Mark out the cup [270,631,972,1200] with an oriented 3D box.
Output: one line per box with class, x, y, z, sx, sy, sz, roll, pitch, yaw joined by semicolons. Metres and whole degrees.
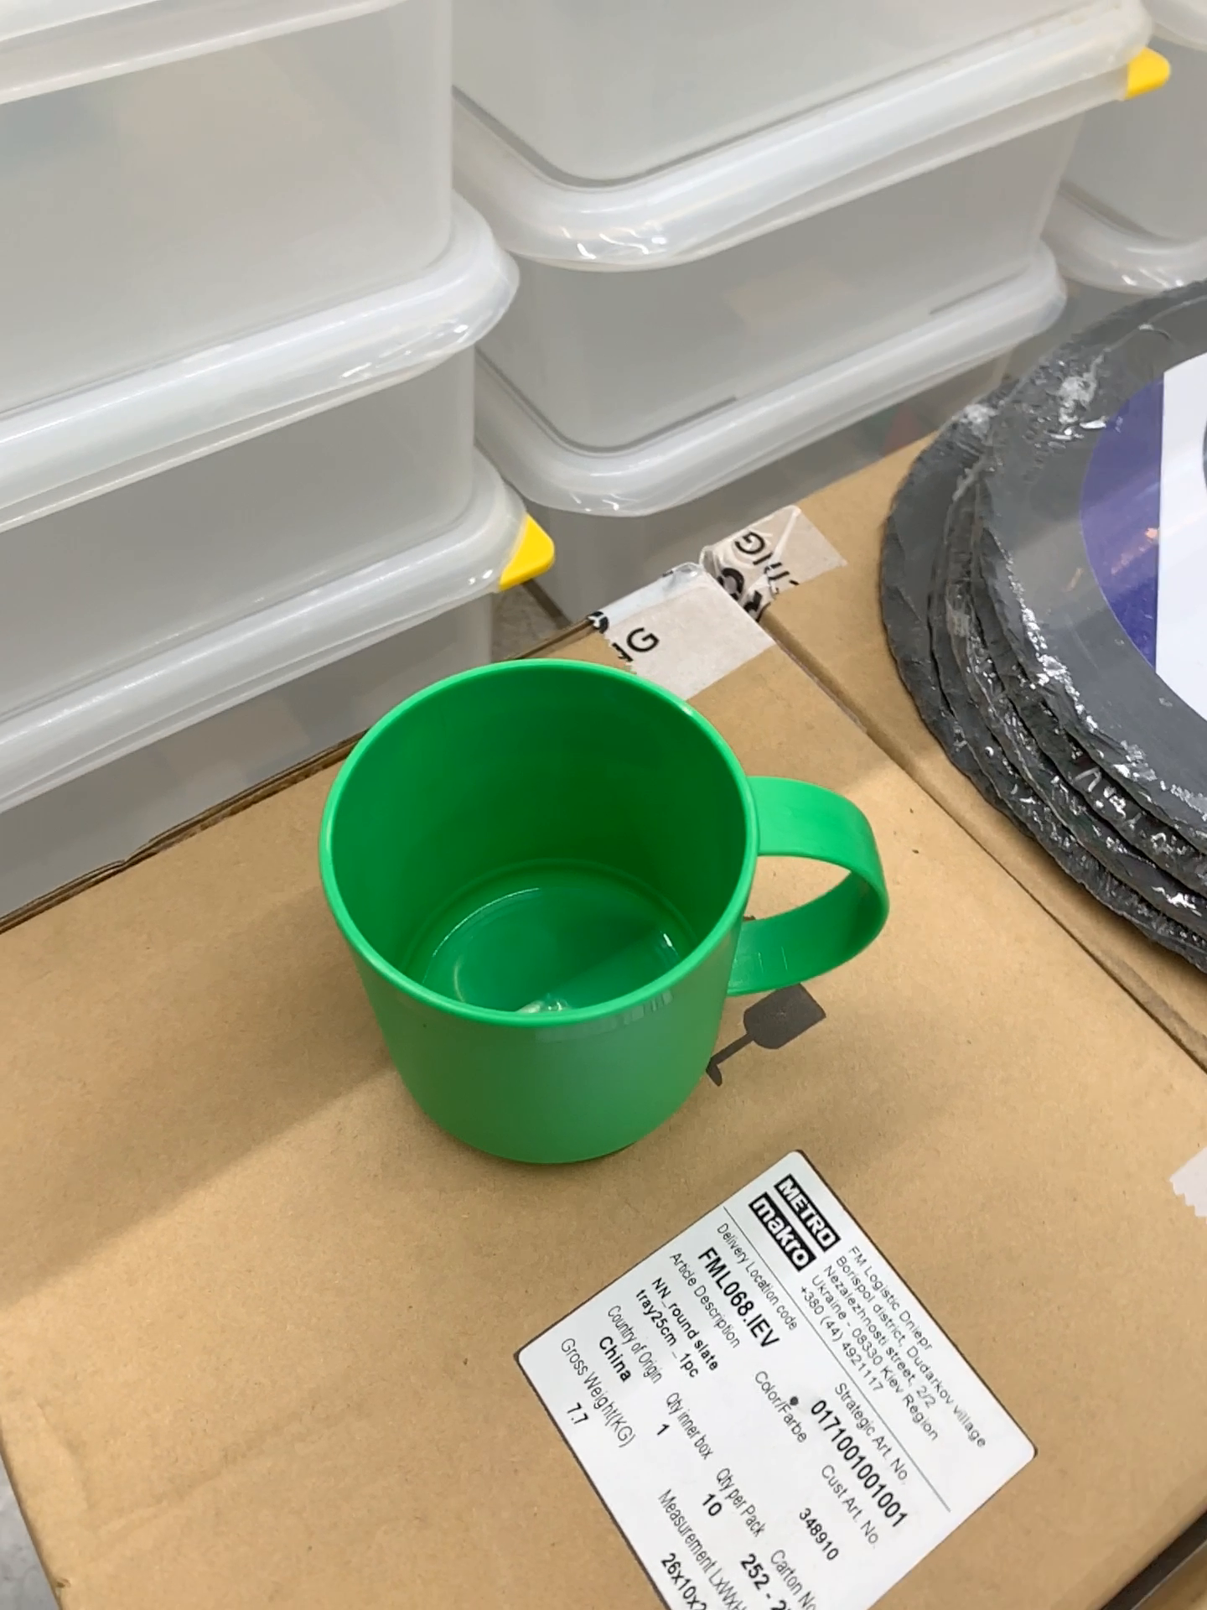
cup;0.001;0.022;0.237;0.105;0.069;0.076;-4;55;-1
